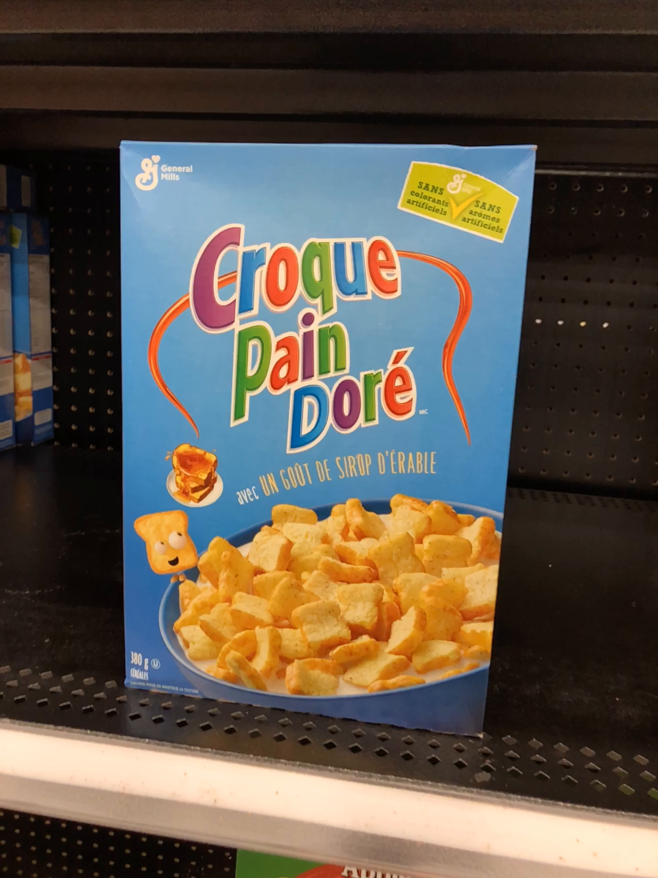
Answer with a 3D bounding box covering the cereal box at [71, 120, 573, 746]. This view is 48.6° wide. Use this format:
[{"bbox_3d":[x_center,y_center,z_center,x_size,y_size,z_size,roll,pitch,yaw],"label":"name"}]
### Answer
[{"bbox_3d":[-0.011,-0.003,0.351,0.210,0.269,0.050,4,11,8],"label":"cereal box"}]
